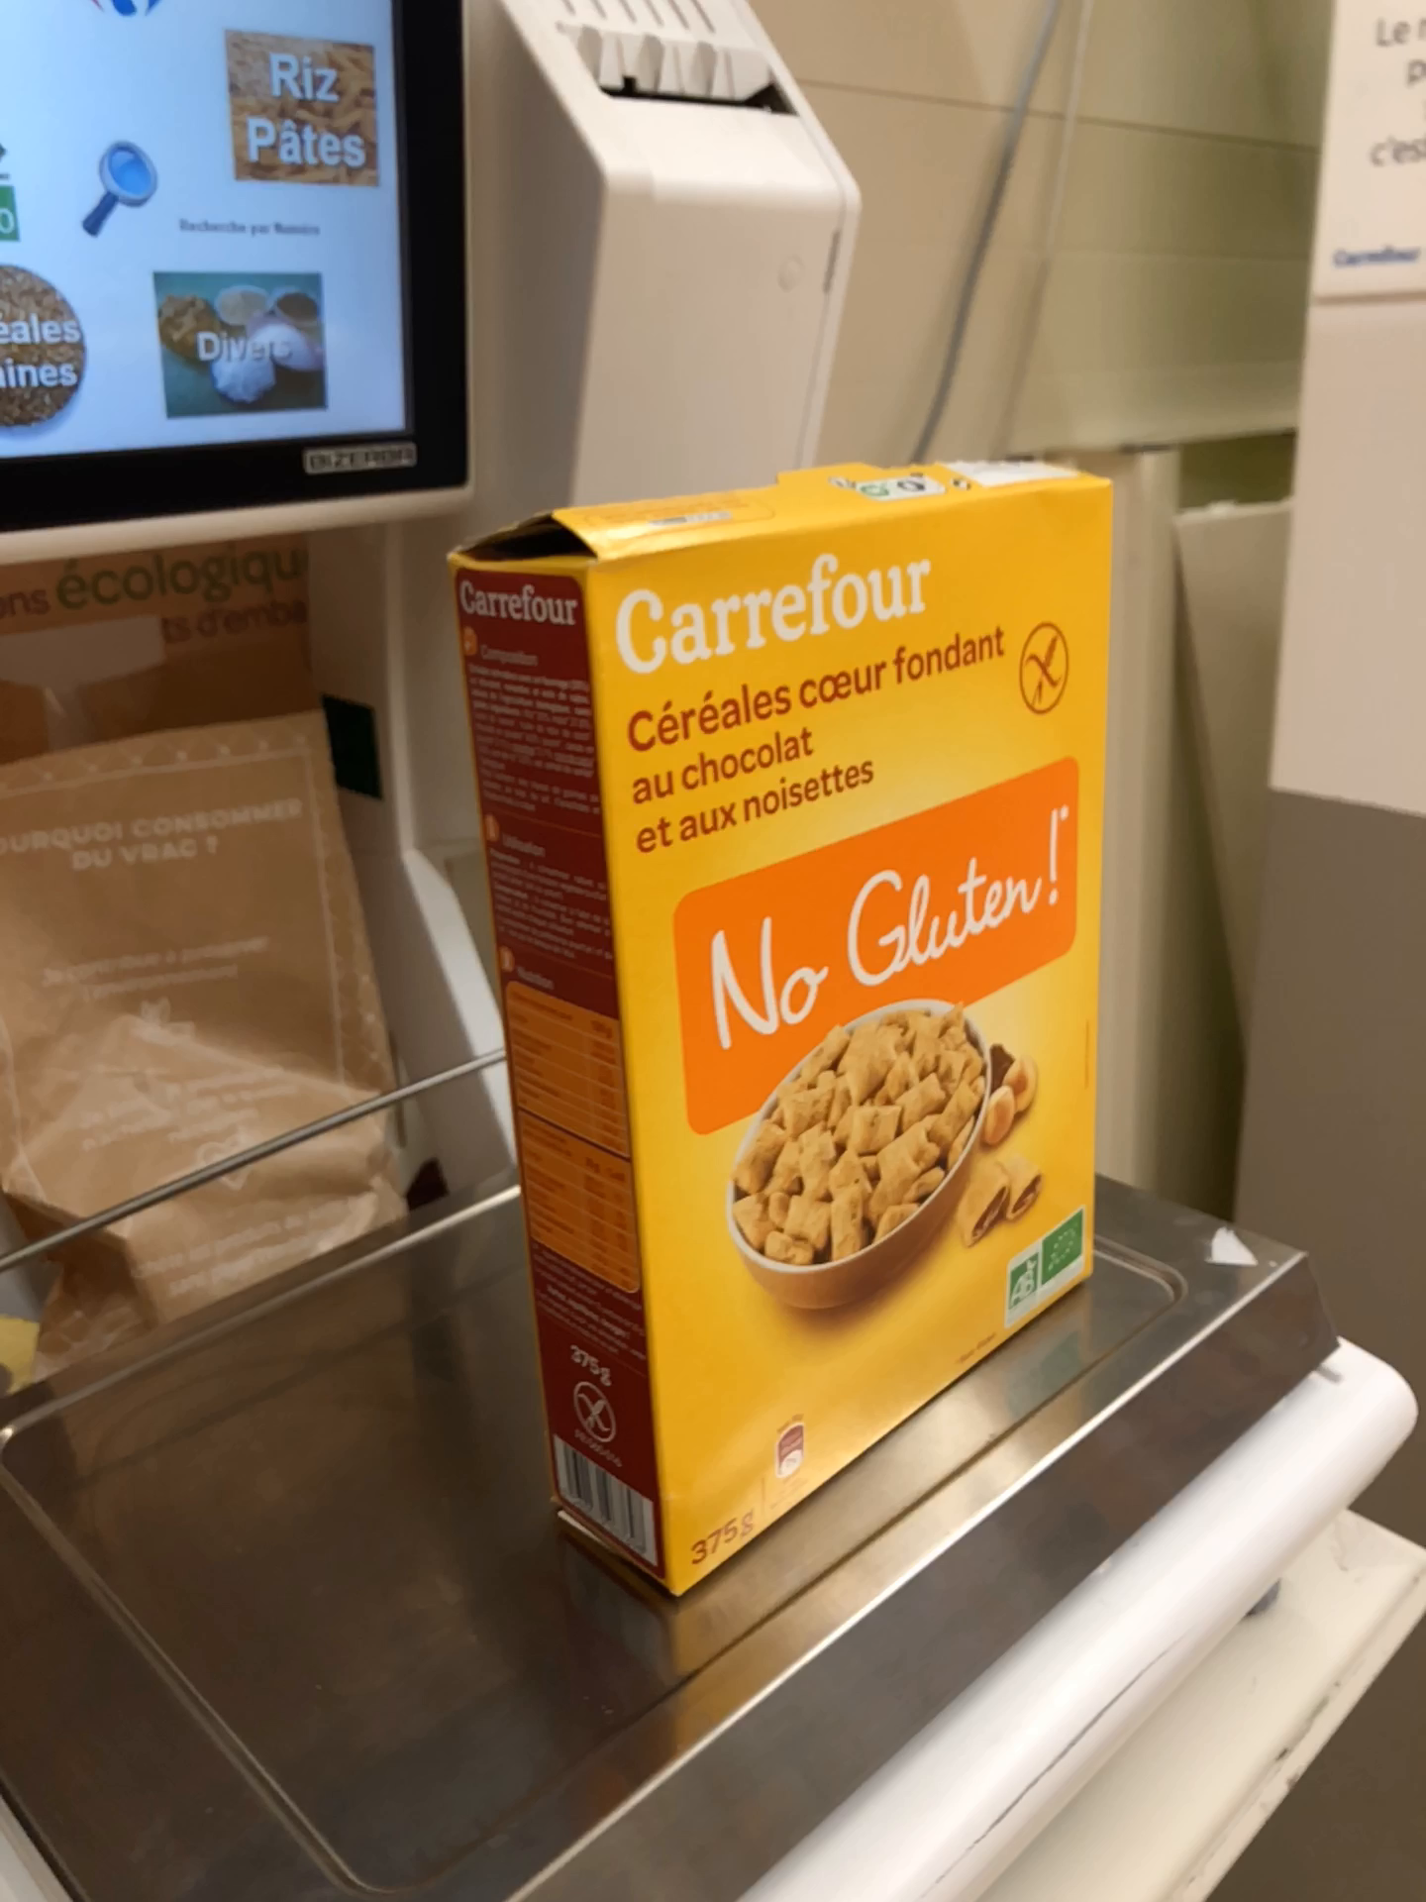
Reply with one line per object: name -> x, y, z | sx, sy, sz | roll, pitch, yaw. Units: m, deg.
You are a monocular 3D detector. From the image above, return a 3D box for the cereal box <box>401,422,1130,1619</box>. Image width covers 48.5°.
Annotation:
cereal box -> 0.030, 0.003, 0.431 | 0.060, 0.269, 0.201 | 15, 26, 42
